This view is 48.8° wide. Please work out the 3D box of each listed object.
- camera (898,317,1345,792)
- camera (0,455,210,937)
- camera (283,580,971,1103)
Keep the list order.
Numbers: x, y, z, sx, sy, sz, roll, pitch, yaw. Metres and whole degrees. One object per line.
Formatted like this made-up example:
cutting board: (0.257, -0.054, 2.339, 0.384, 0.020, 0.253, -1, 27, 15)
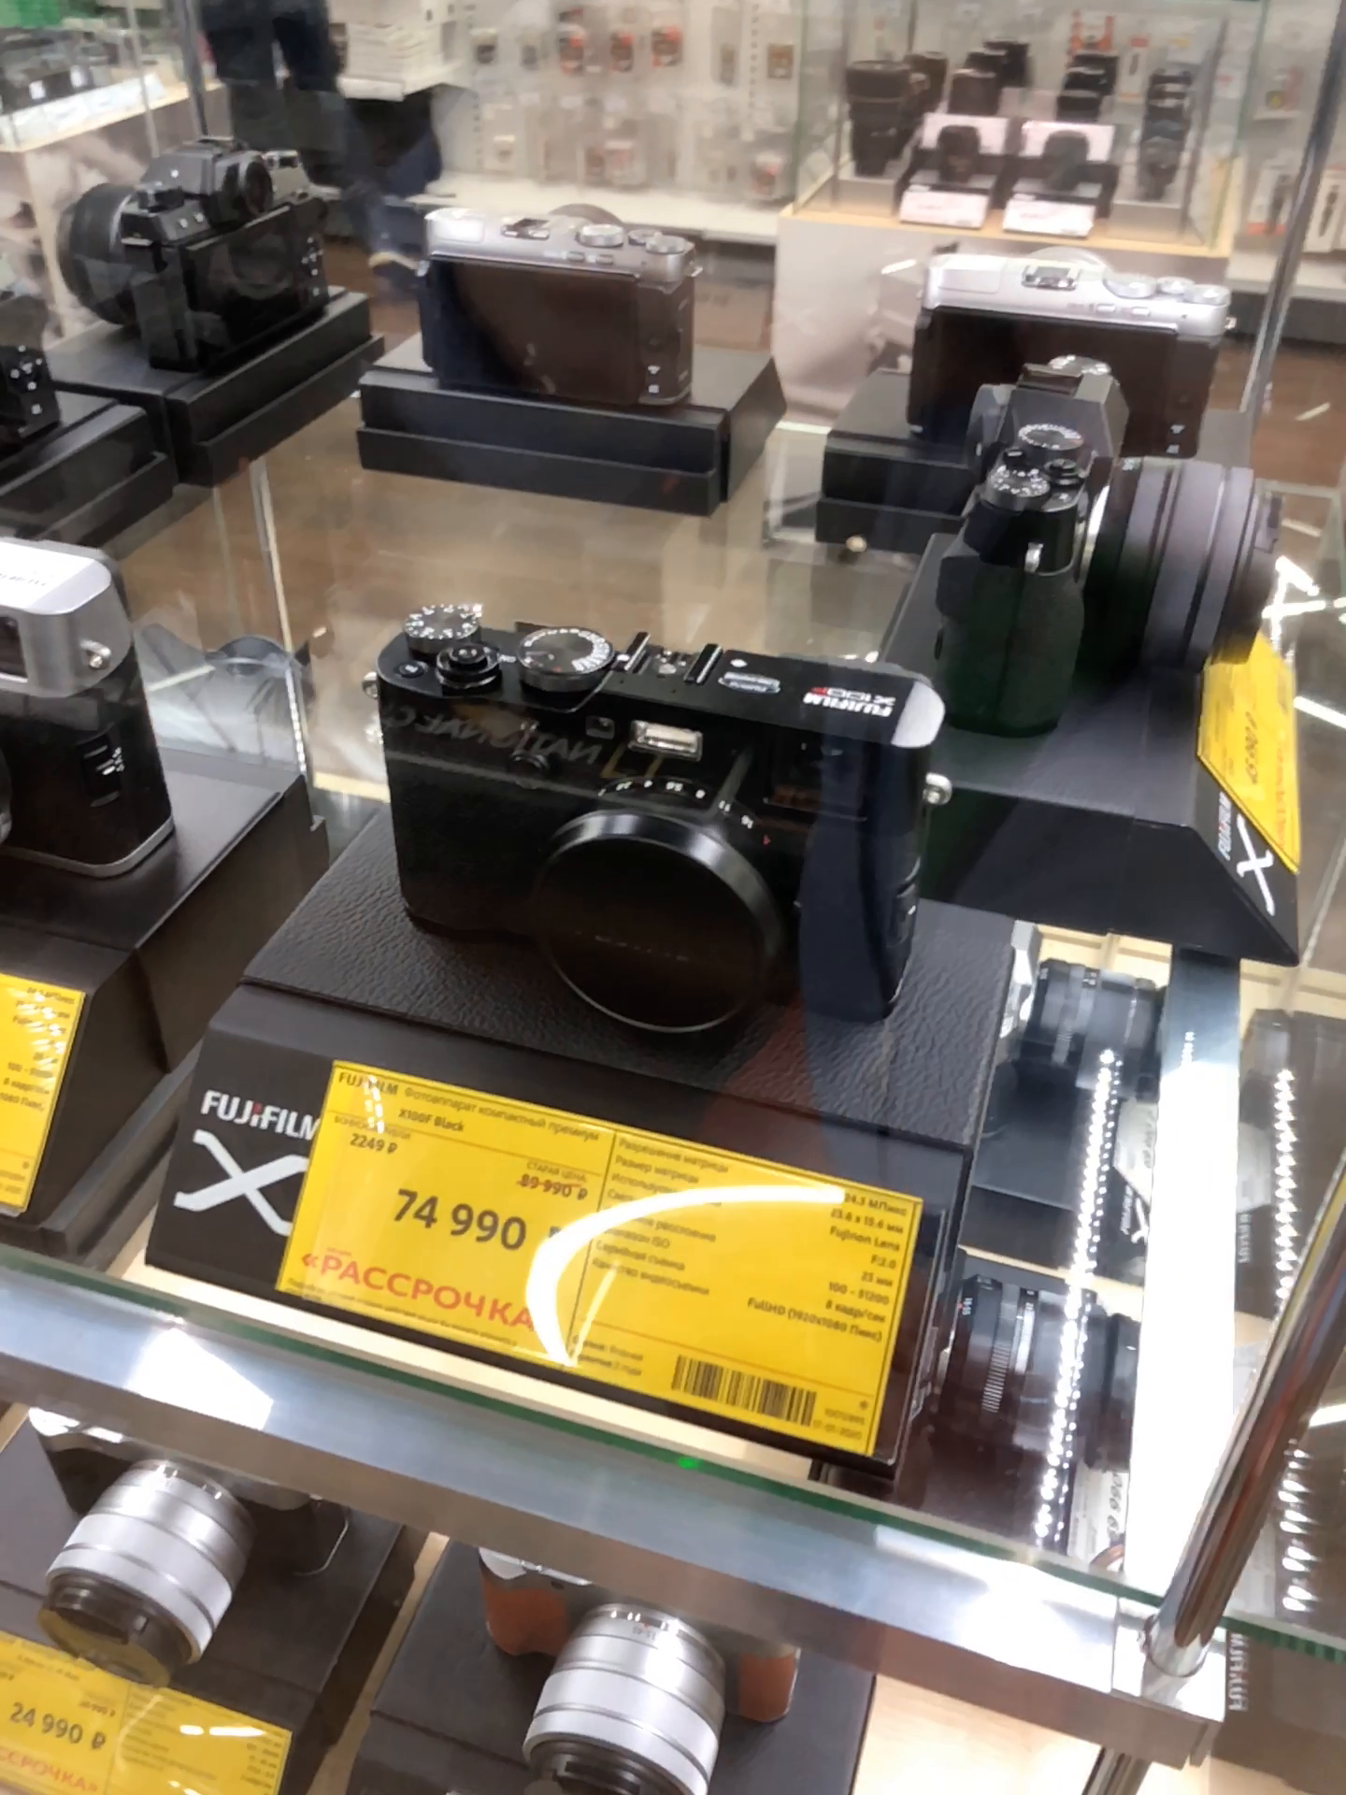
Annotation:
camera: (0.134, -0.109, 0.444, 0.104, 0.080, 0.131, 11, 38, 13)
camera: (-0.192, -0.051, 0.361, 0.131, 0.080, 0.055, 11, 38, 13)
camera: (-0.009, -0.015, 0.326, 0.131, 0.075, 0.055, 11, 38, 13)
